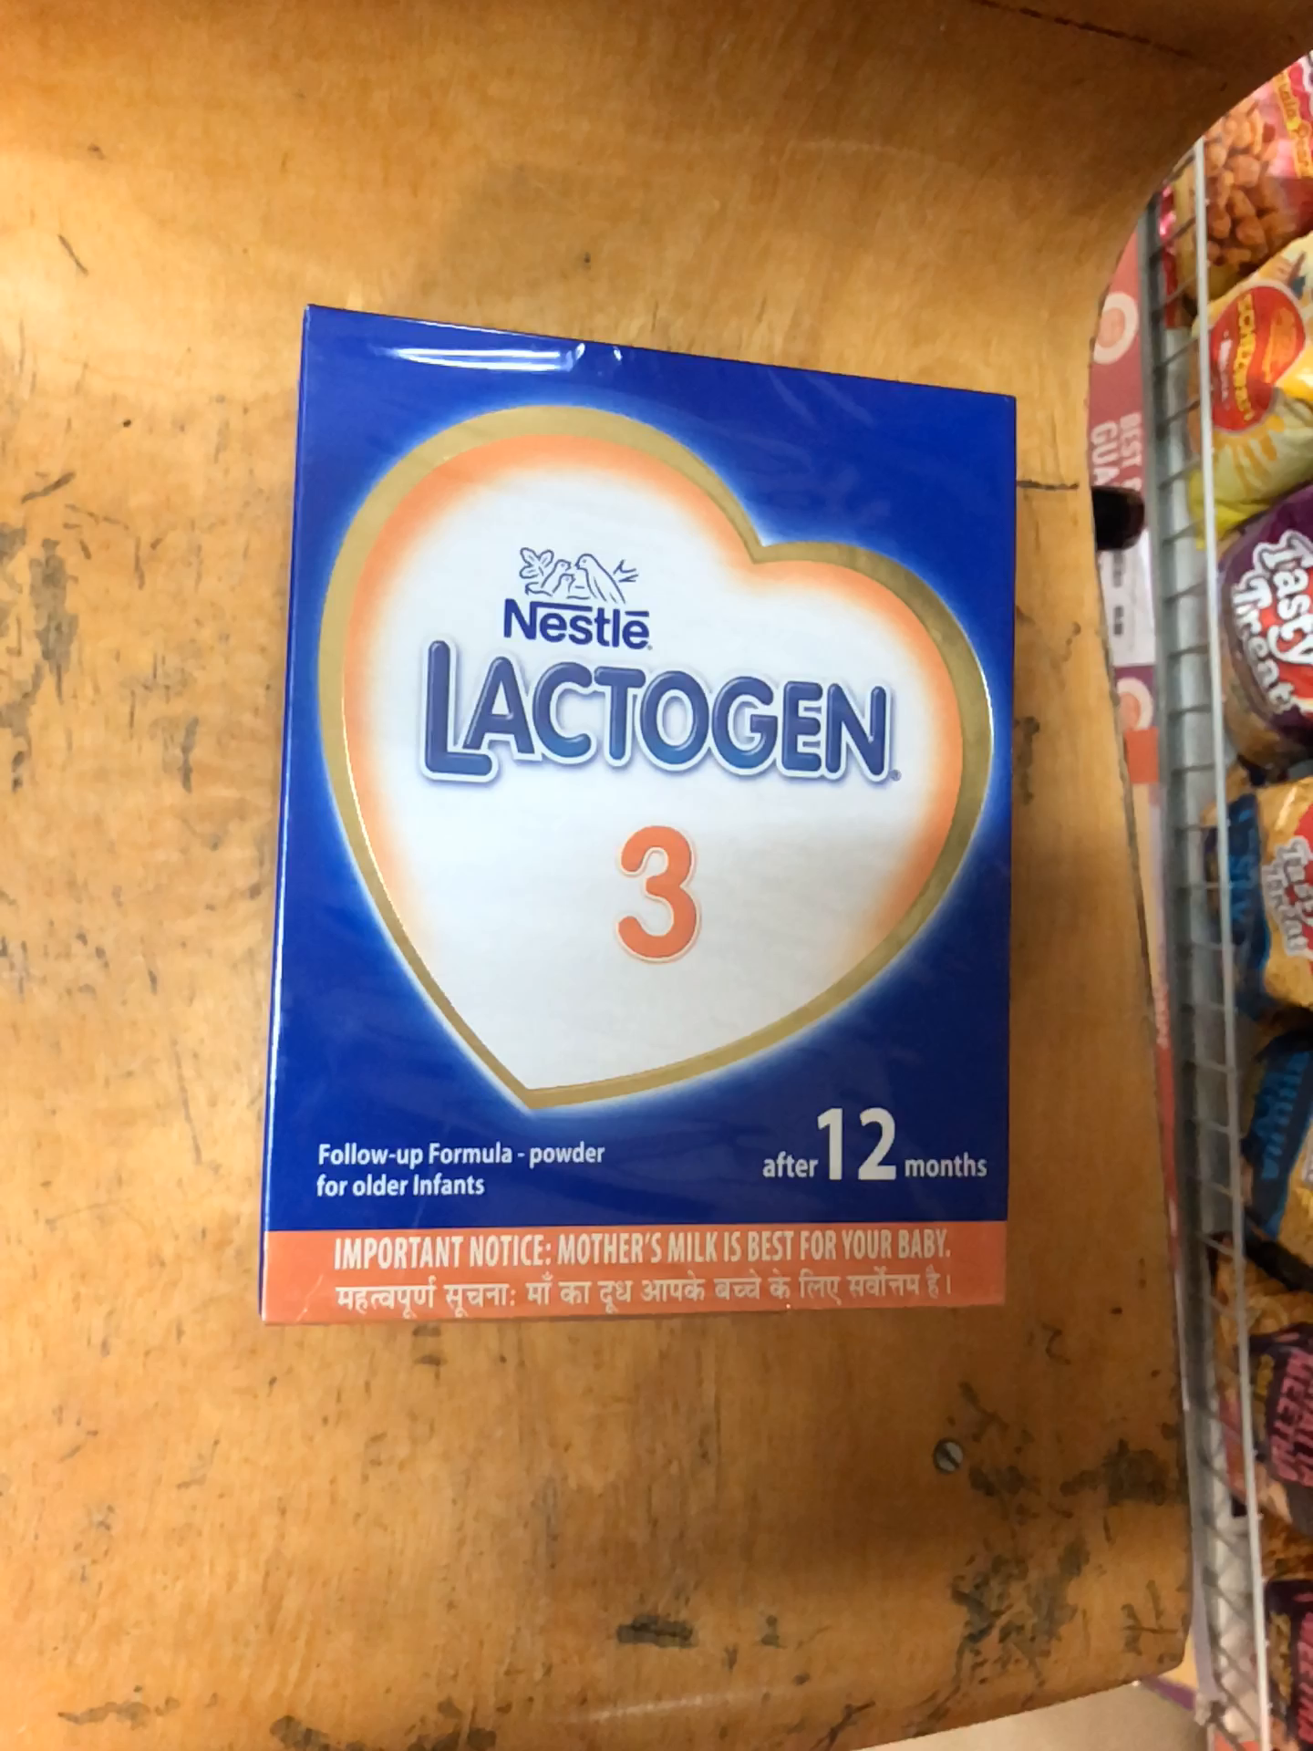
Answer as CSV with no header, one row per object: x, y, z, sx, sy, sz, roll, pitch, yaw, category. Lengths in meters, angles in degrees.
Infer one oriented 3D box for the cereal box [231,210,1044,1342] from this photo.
-0.004,-0.015,0.303,0.150,0.060,0.200,3,86,-14,cereal box
